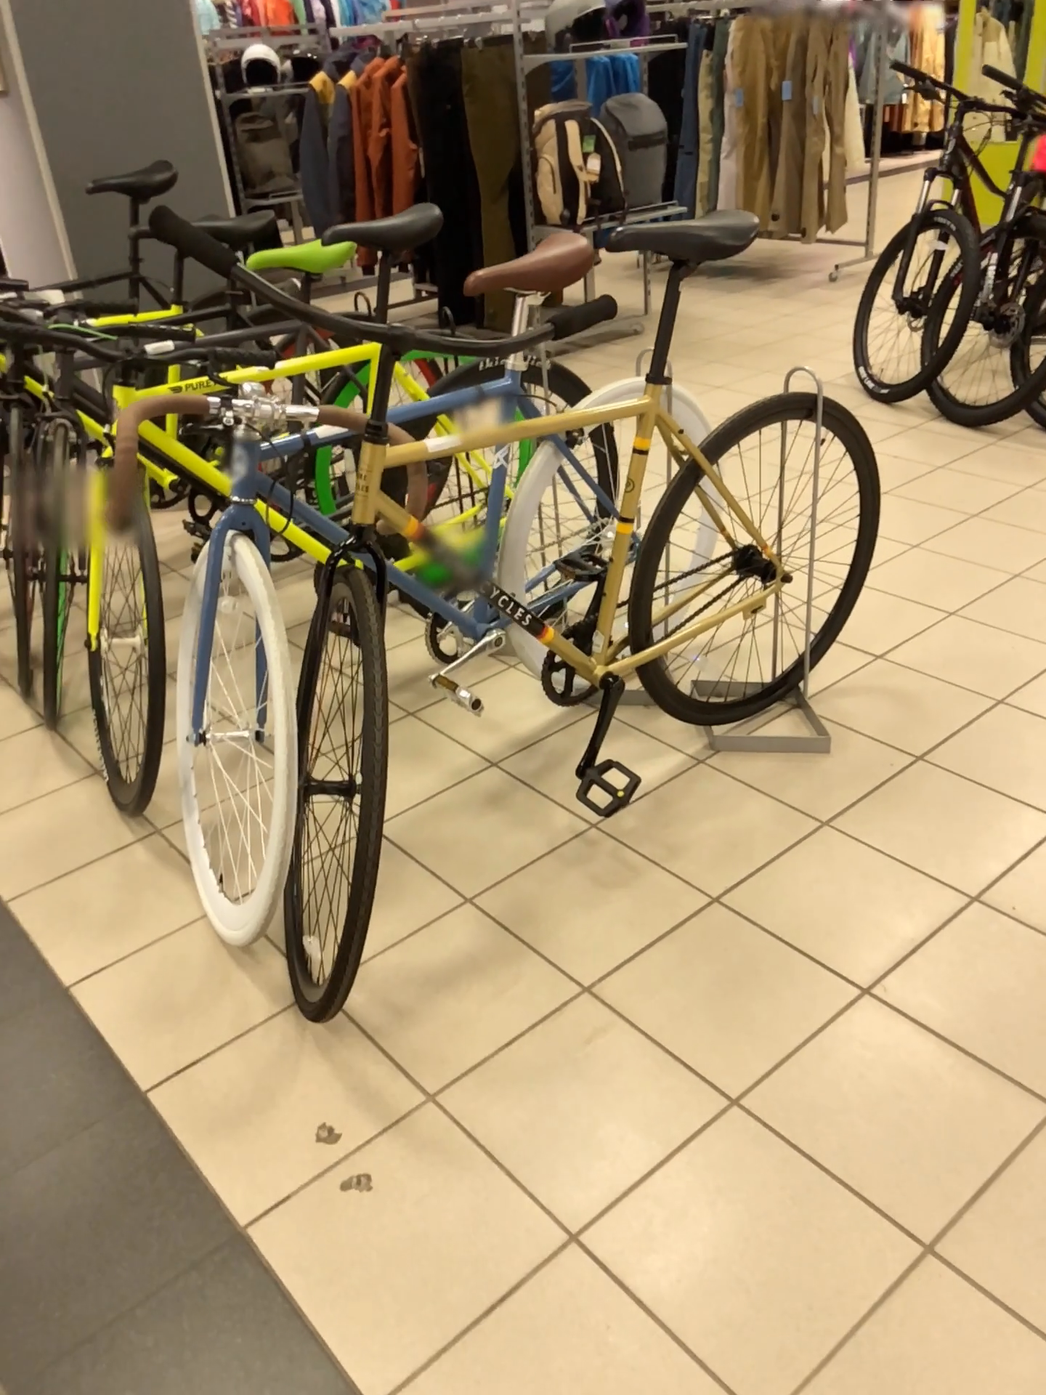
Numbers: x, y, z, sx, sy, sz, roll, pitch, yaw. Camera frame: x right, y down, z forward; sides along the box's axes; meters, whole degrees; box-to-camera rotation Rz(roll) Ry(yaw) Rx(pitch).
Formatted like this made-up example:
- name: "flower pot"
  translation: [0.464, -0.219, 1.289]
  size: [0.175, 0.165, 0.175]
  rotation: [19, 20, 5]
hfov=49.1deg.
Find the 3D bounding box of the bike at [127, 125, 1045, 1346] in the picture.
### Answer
- name: "bike"
  translation: [0.225, -0.147, 1.874]
  size: [0.674, 1.091, 1.468]
  rotation: [19, 41, 36]
